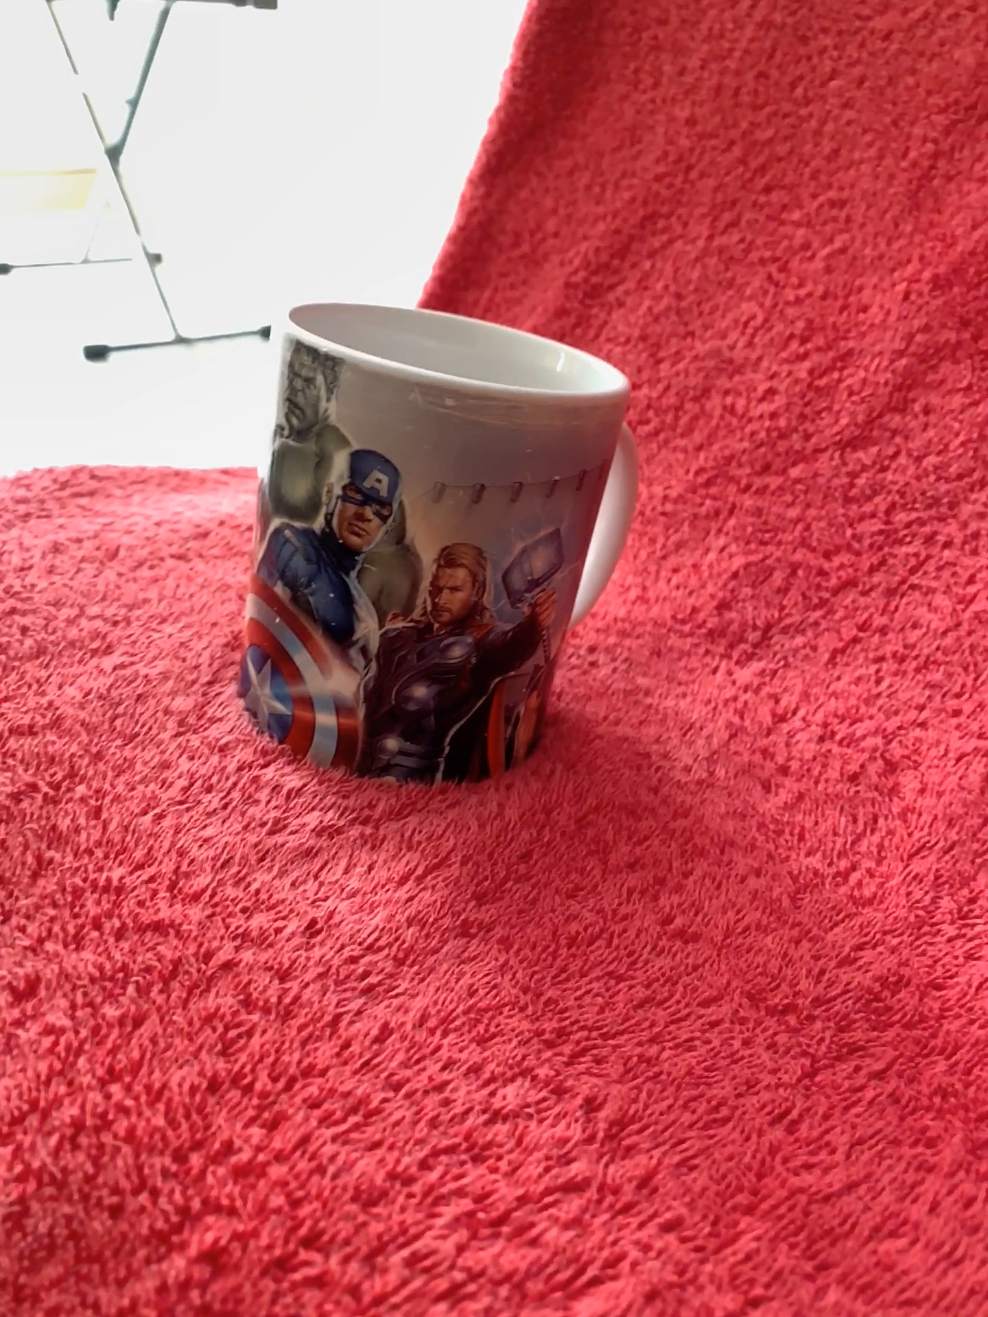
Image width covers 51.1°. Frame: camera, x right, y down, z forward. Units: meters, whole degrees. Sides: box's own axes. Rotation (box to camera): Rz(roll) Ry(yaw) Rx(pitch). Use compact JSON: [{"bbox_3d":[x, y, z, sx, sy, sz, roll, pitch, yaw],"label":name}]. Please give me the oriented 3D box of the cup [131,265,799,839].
[{"bbox_3d":[-0.011,-0.035,0.256,0.120,0.089,0.090,-13,40,-39],"label":"cup"}]
